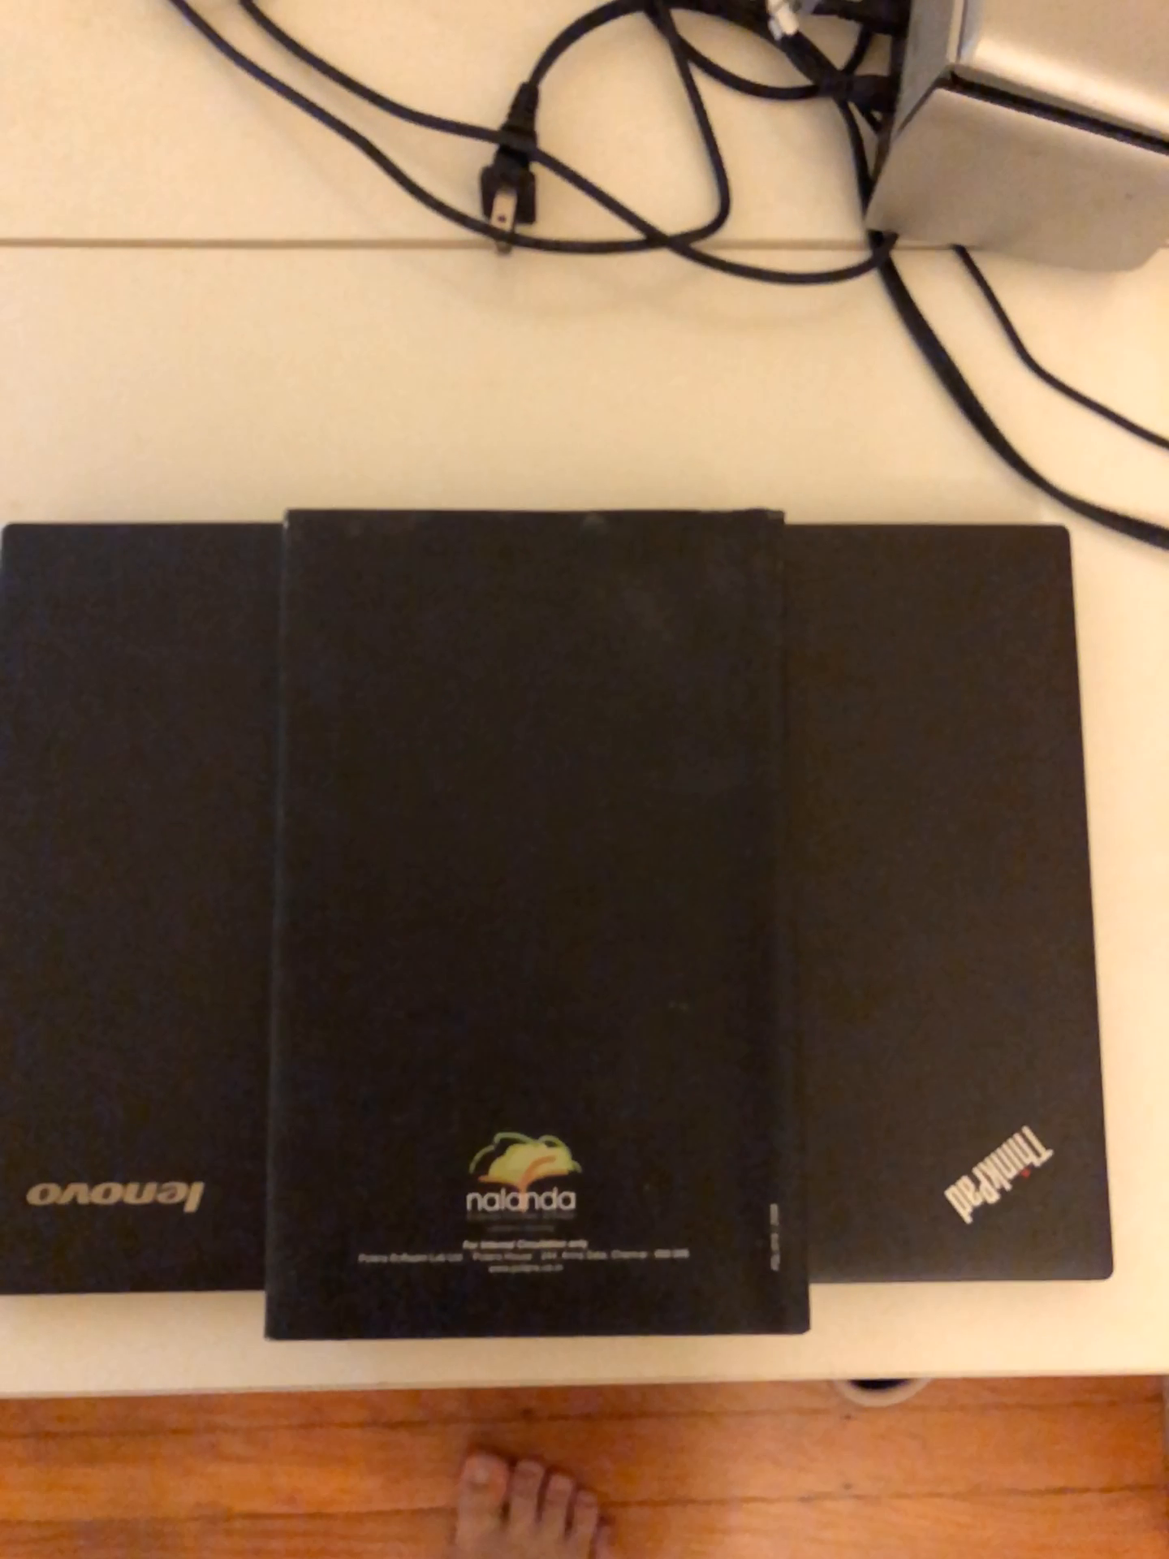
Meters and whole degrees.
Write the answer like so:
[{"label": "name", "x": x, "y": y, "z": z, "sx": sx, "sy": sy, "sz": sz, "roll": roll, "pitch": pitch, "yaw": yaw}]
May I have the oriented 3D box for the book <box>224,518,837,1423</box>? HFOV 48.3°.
[{"label": "book", "x": -0.015, "y": 0.046, "z": 0.358, "sx": 0.150, "sy": 0.040, "sz": 0.230, "roll": -1, "pitch": 81, "yaw": -1}]
